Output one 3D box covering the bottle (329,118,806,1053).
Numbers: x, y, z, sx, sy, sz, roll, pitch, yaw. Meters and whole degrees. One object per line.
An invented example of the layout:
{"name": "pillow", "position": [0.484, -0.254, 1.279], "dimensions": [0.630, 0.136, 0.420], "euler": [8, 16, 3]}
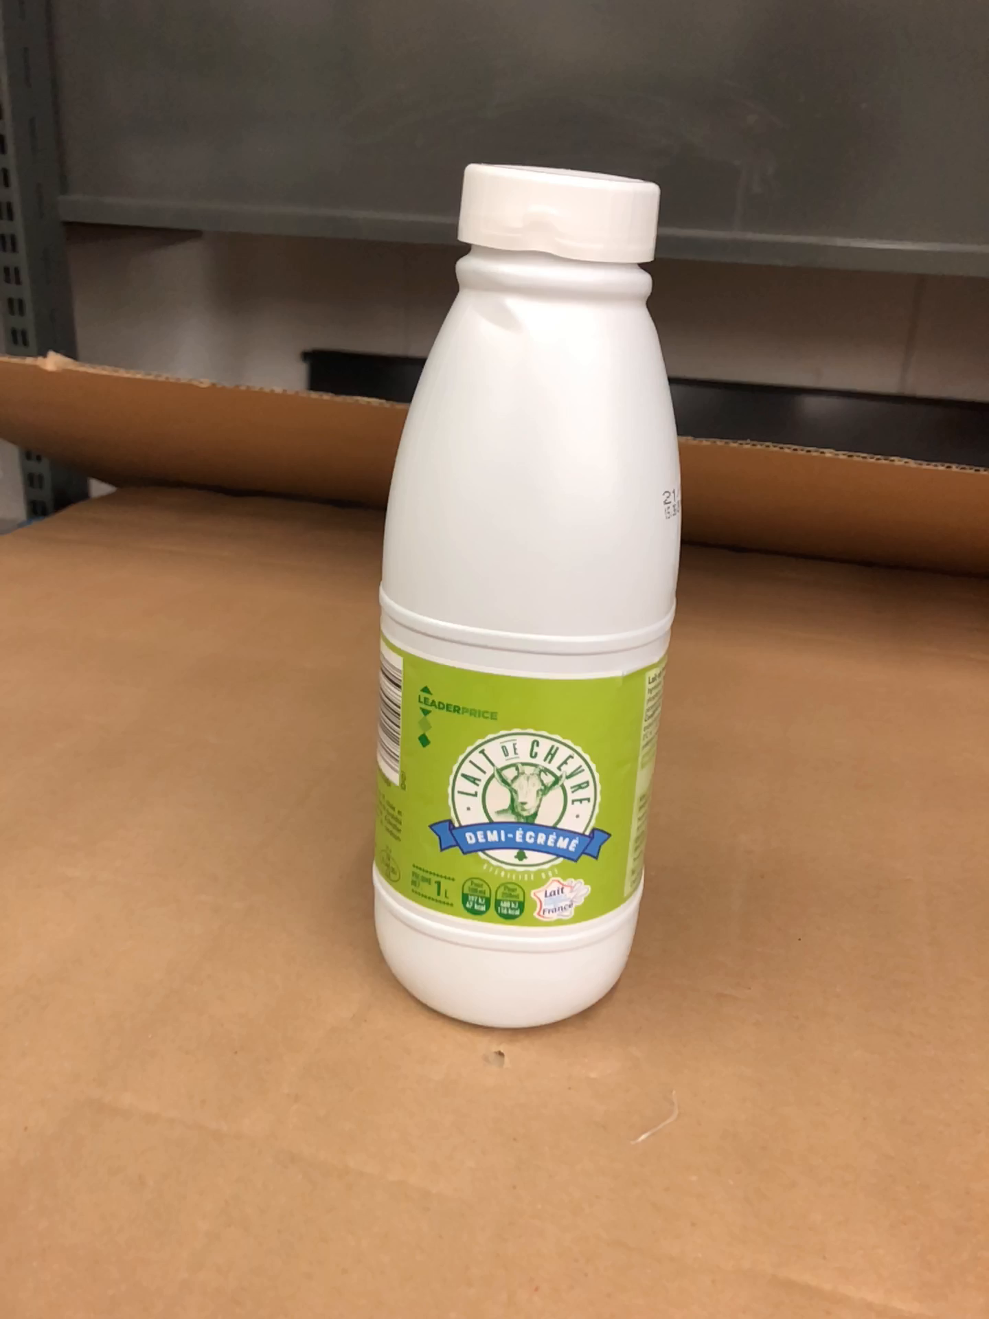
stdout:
{"name": "bottle", "position": [0.013, -0.016, 0.311], "dimensions": [0.100, 0.239, 0.080], "euler": [4, 22, 3]}
